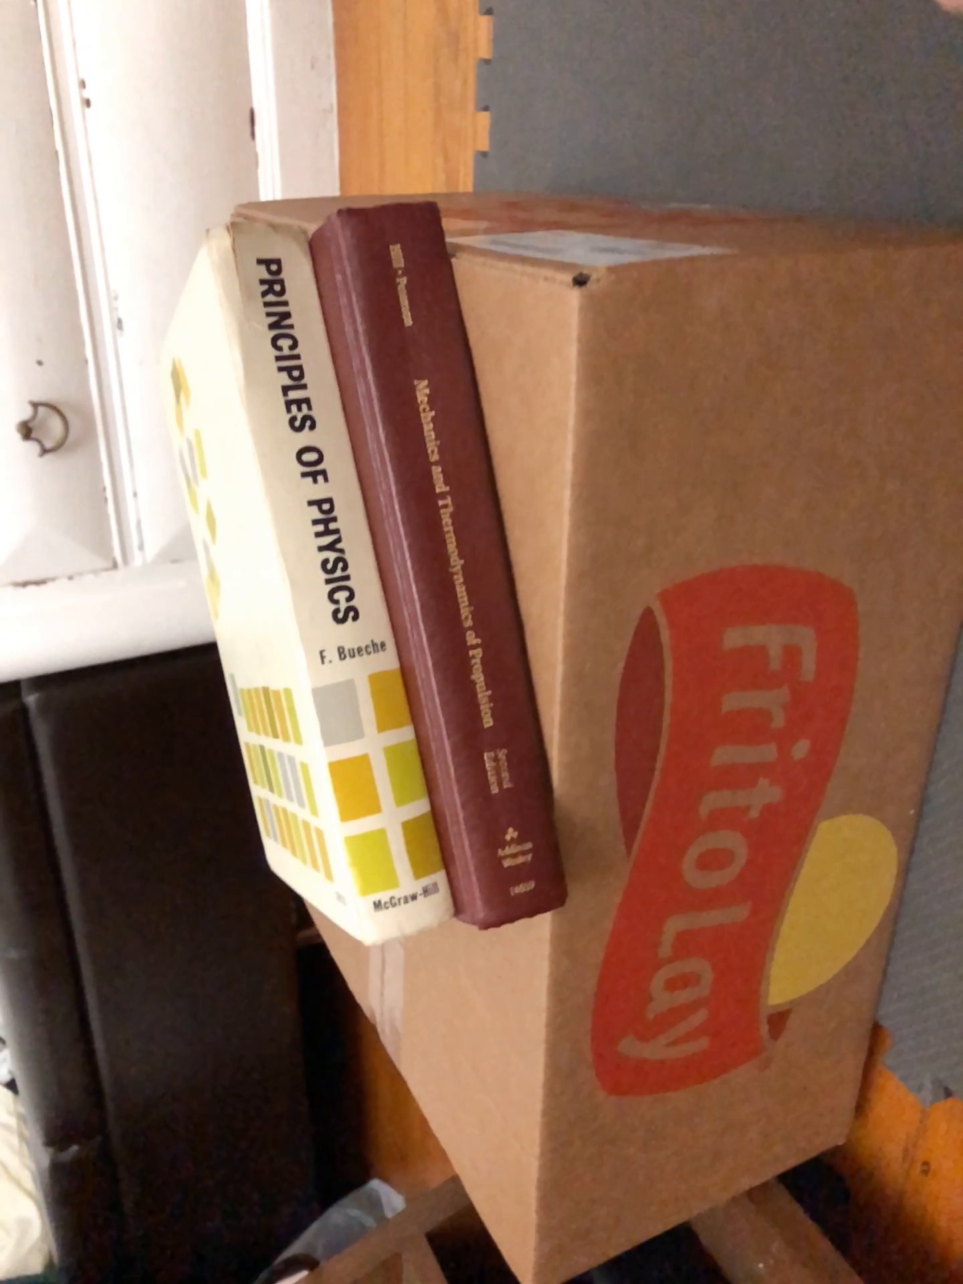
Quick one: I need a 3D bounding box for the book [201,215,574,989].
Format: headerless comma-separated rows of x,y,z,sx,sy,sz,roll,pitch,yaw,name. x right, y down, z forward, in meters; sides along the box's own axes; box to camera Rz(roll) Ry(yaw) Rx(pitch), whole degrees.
-0.049,-0.012,0.431,0.181,0.040,0.250,1,104,65,book

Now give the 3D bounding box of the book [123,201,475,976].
-0.085,-0.014,0.429,0.181,0.040,0.250,-6,98,65,book
